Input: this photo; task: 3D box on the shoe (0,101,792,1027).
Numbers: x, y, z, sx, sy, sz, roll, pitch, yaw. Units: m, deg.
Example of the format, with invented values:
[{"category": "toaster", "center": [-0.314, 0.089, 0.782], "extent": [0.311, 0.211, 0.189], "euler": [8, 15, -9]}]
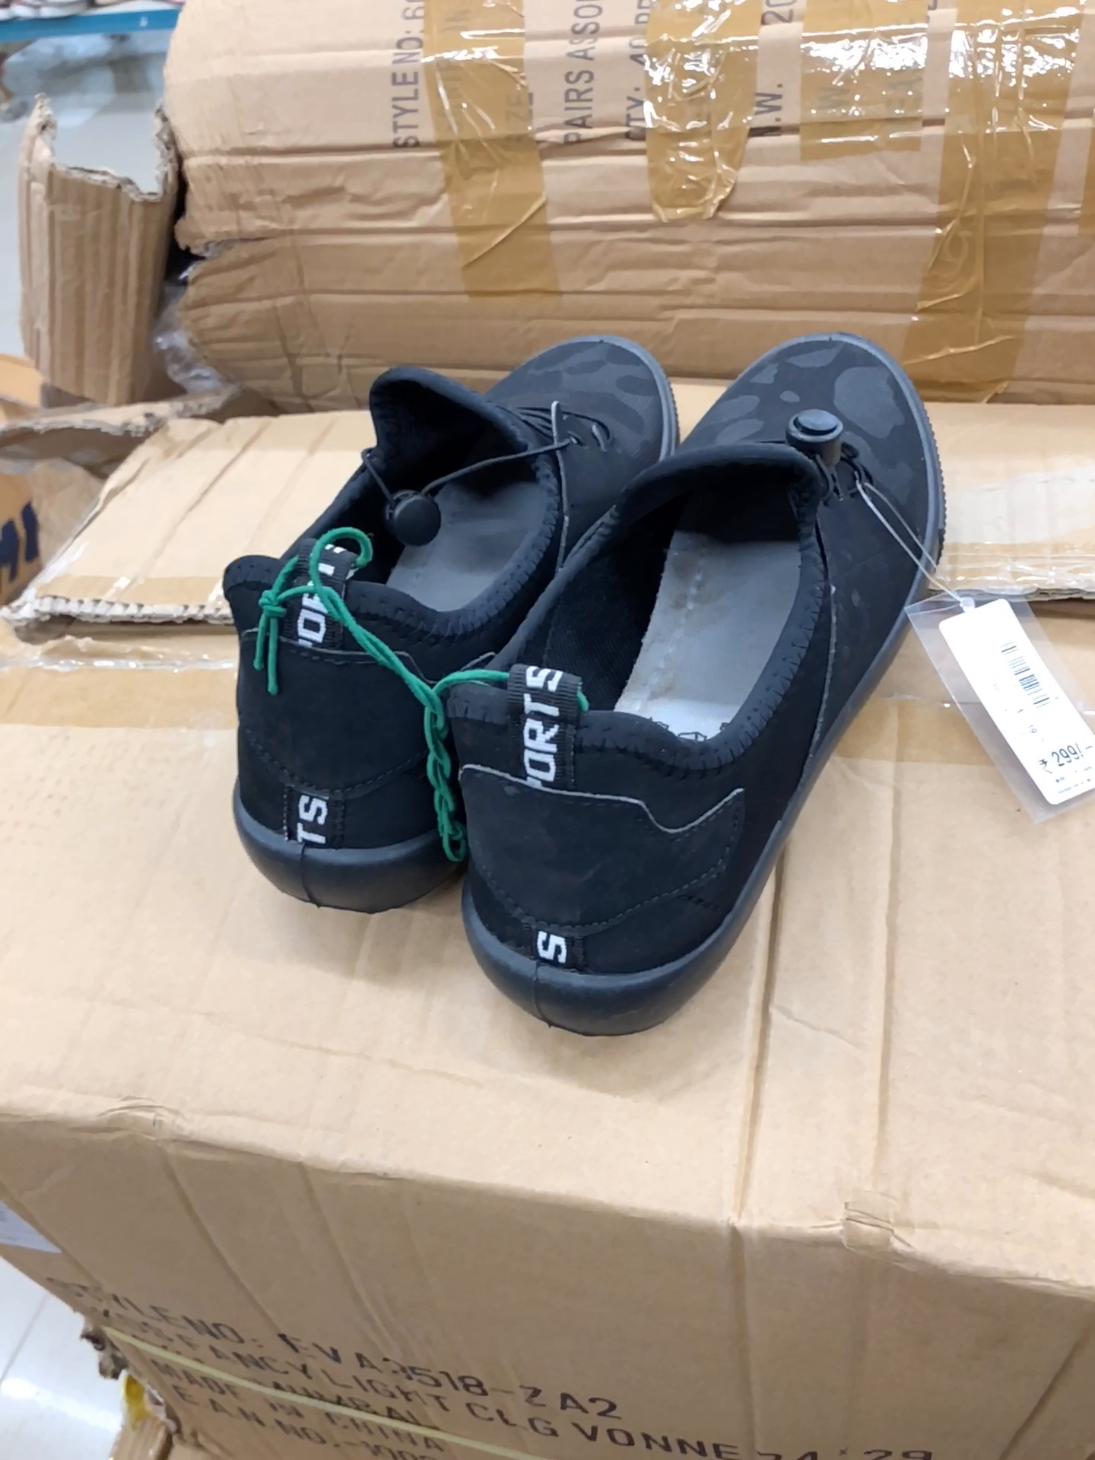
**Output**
[{"category": "shoe", "center": [-0.012, -0.082, 0.407], "extent": [0.120, 0.129, 0.312], "euler": [10, 49, 19]}]

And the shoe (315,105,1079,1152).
[{"category": "shoe", "center": [0.074, -0.063, 0.376], "extent": [0.120, 0.129, 0.322], "euler": [11, 49, 20]}]
